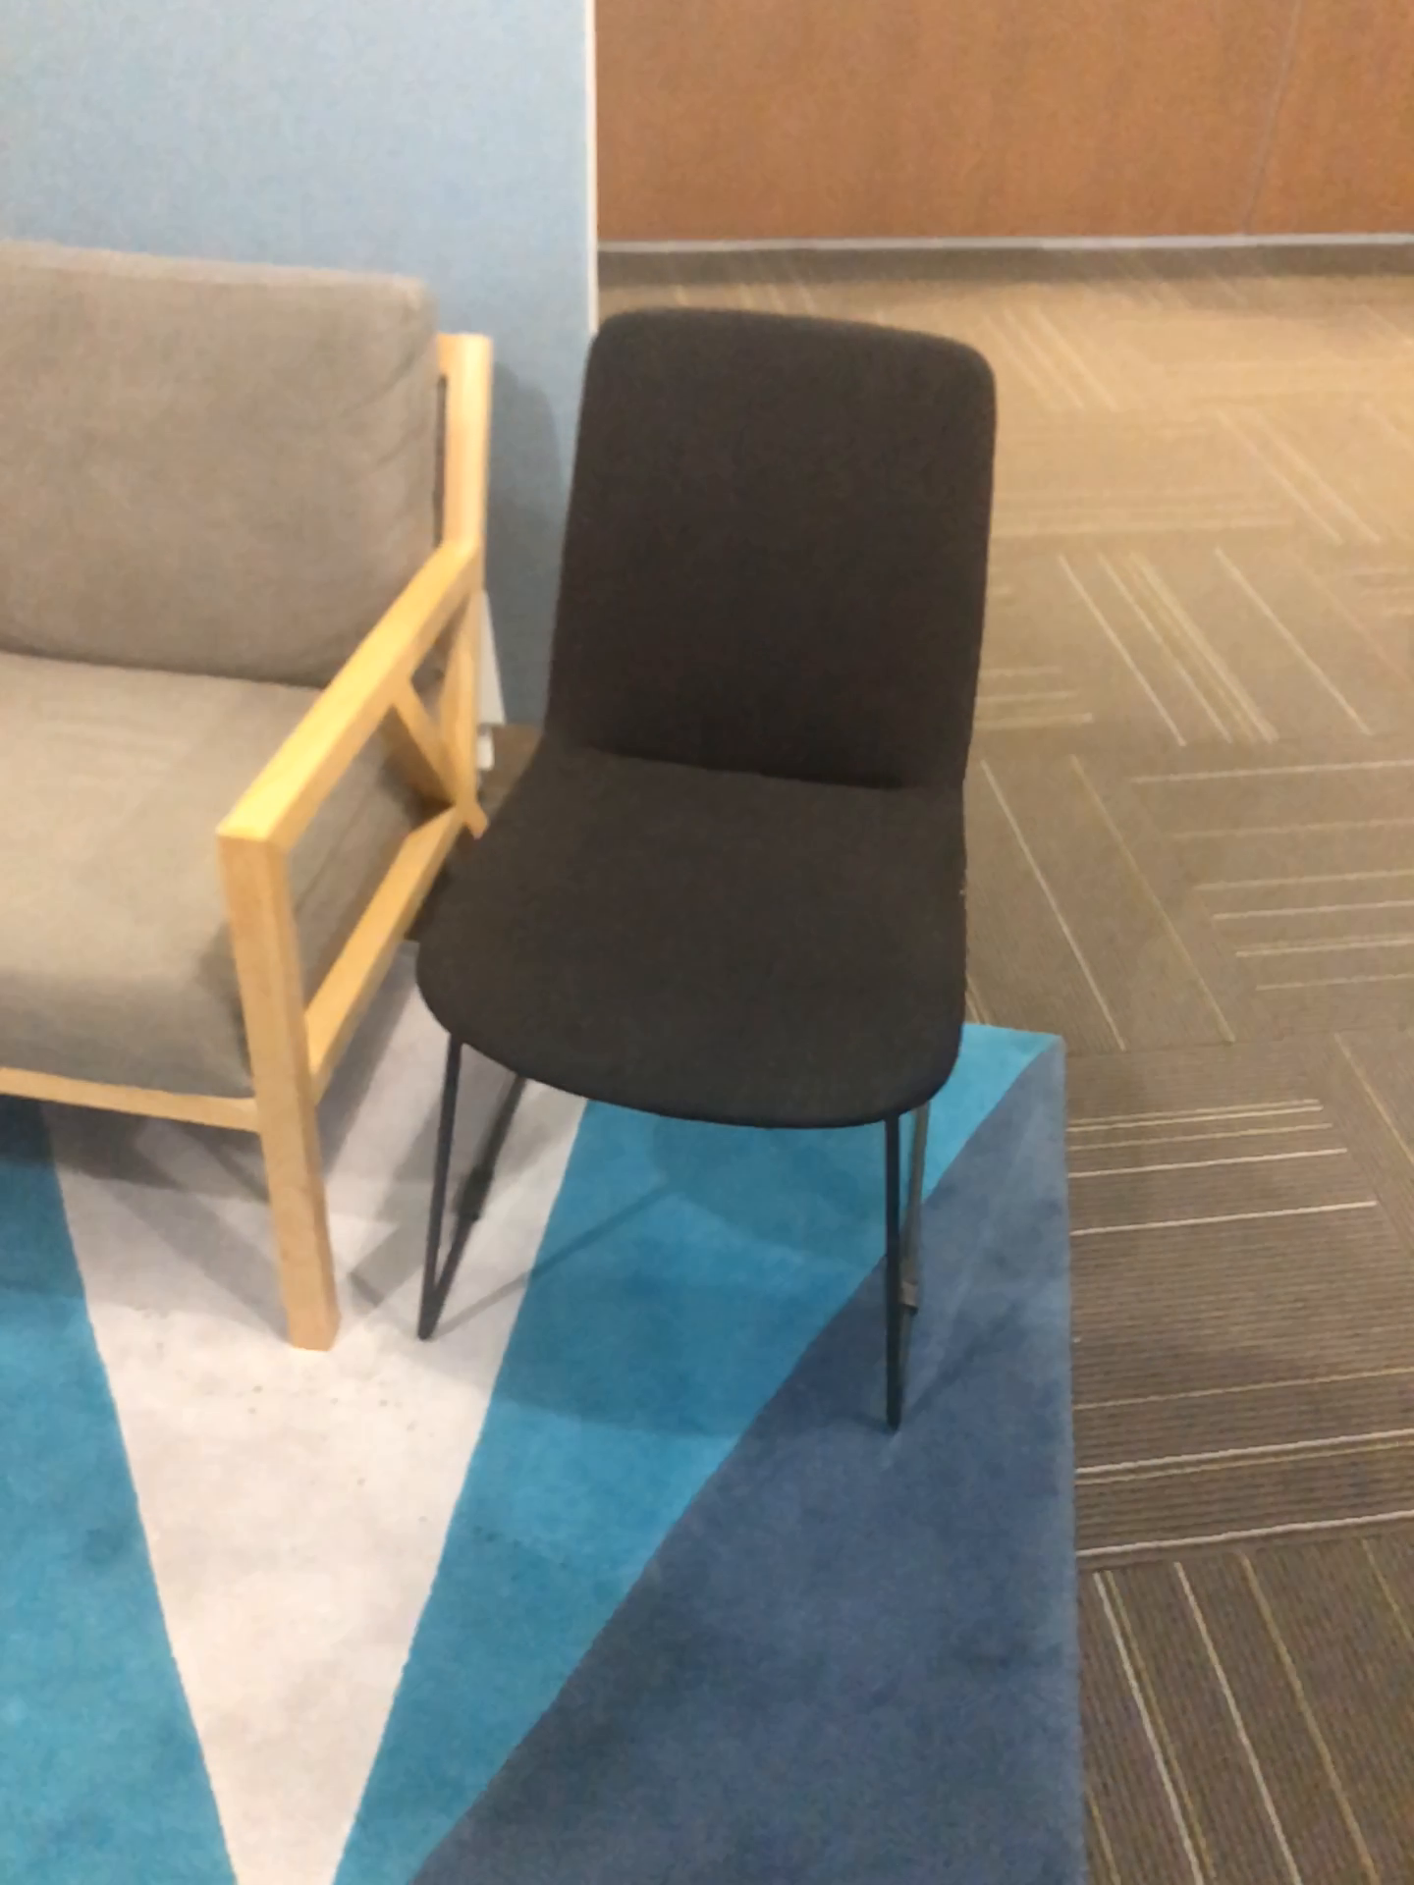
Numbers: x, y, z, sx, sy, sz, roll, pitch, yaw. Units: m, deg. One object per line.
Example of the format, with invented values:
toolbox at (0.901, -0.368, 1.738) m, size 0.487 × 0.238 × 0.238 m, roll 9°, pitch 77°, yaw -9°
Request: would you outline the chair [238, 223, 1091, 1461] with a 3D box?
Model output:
chair at (0.016, -0.099, 1.435) m, size 0.500 × 0.822 × 0.686 m, roll 9°, pitch 41°, yaw 7°
